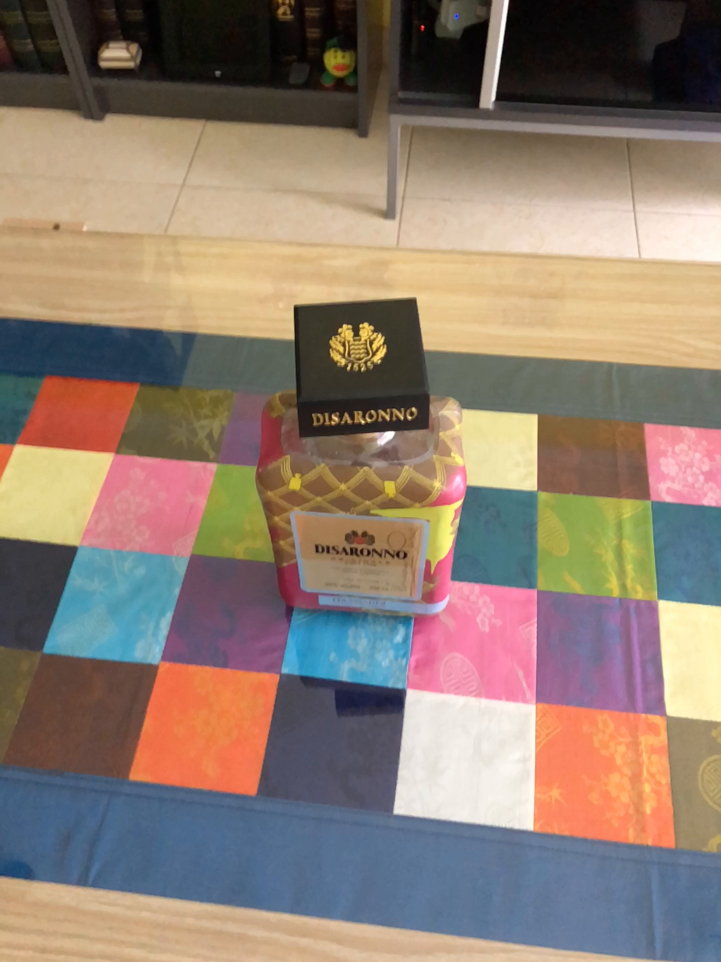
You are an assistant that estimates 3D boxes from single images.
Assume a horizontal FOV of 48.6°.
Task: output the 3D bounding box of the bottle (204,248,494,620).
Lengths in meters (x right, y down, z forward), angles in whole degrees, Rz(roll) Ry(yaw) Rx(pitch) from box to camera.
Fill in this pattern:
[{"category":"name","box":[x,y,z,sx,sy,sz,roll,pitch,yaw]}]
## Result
[{"category":"bottle","box":[0.000,-0.010,0.447,0.120,0.229,0.080,4,57,4]}]
